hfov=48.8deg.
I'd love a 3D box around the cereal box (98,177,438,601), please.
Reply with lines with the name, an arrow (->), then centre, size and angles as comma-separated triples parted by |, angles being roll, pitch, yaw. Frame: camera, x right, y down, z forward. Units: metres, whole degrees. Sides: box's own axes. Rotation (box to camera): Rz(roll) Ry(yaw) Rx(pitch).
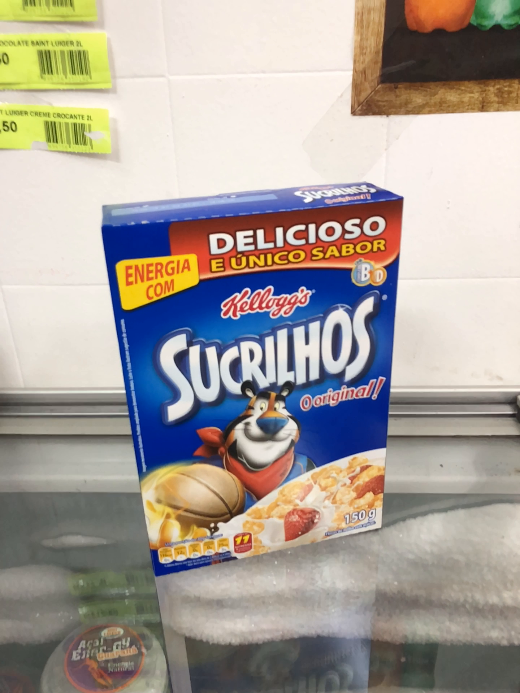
cereal box -> 0.004, 0.024, 0.293 | 0.140, 0.199, 0.050 | -7, 26, -12
